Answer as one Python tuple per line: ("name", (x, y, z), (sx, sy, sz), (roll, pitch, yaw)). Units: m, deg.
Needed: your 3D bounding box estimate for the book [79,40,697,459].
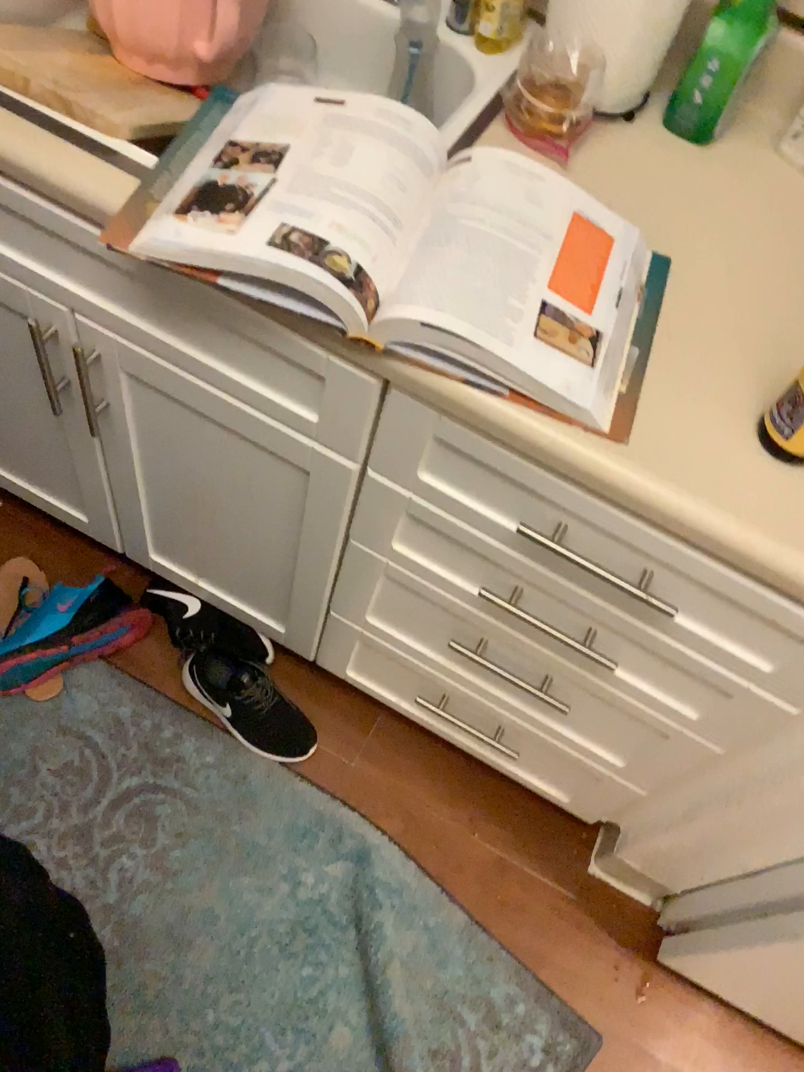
("book", (0.011, -0.295, 0.862), (0.530, 0.040, 0.310), (21, 58, 0))
